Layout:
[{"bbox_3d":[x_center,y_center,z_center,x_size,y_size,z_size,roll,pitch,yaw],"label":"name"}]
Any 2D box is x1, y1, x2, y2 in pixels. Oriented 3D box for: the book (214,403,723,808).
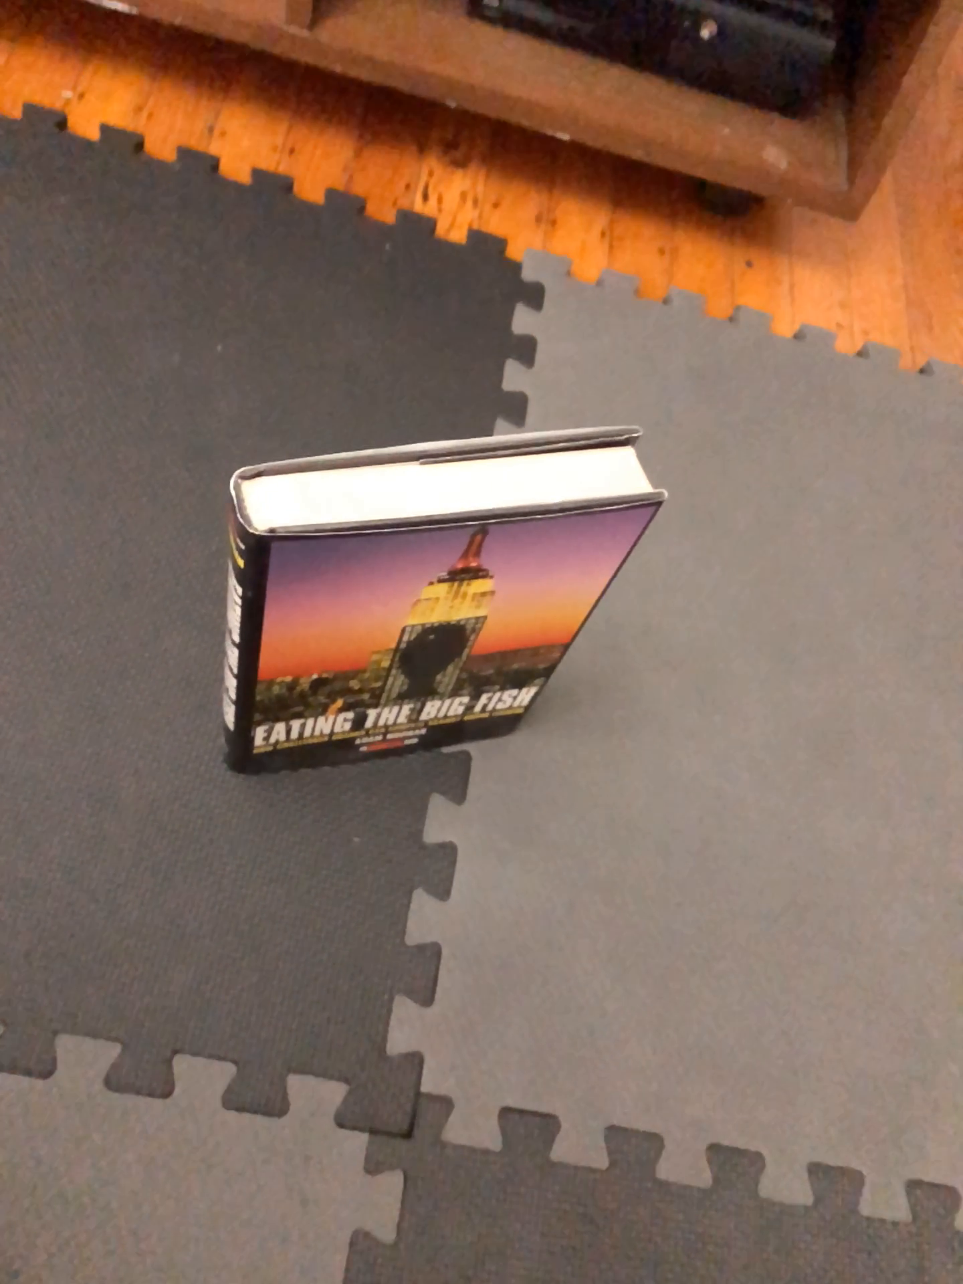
[{"bbox_3d":[-0.029,-0.002,0.496,0.180,0.259,0.050,-10,68,-18],"label":"book"}]
